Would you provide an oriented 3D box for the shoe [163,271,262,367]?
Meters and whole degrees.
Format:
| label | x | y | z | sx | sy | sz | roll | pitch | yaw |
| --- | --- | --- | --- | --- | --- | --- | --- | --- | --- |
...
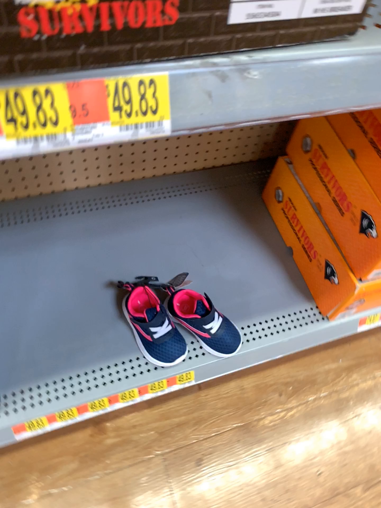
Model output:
| label | x | y | z | sx | sy | sz | roll | pitch | yaw |
| --- | --- | --- | --- | --- | --- | --- | --- | --- | --- |
| shoe | 0.034 | 0.111 | 0.671 | 0.145 | 0.064 | 0.073 | 35 | 59 | 13 |

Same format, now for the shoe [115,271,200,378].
| label | x | y | z | sx | sy | sz | roll | pitch | yaw |
| --- | --- | --- | --- | --- | --- | --- | --- | --- | --- |
| shoe | -0.059 | 0.116 | 0.654 | 0.073 | 0.064 | 0.145 | -25 | 65 | -23 |
